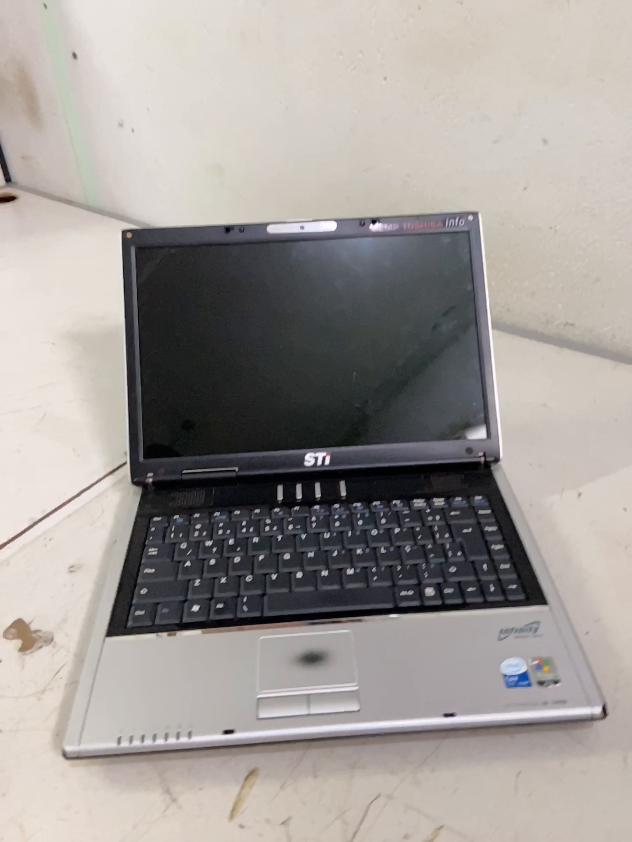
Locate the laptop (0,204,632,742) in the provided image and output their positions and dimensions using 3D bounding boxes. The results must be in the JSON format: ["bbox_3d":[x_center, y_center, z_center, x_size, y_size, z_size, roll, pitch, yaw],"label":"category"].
[{"bbox_3d":[-0.003,-0.003,0.494,0.325,0.167,0.388,-4,38,-1],"label":"laptop"}]
